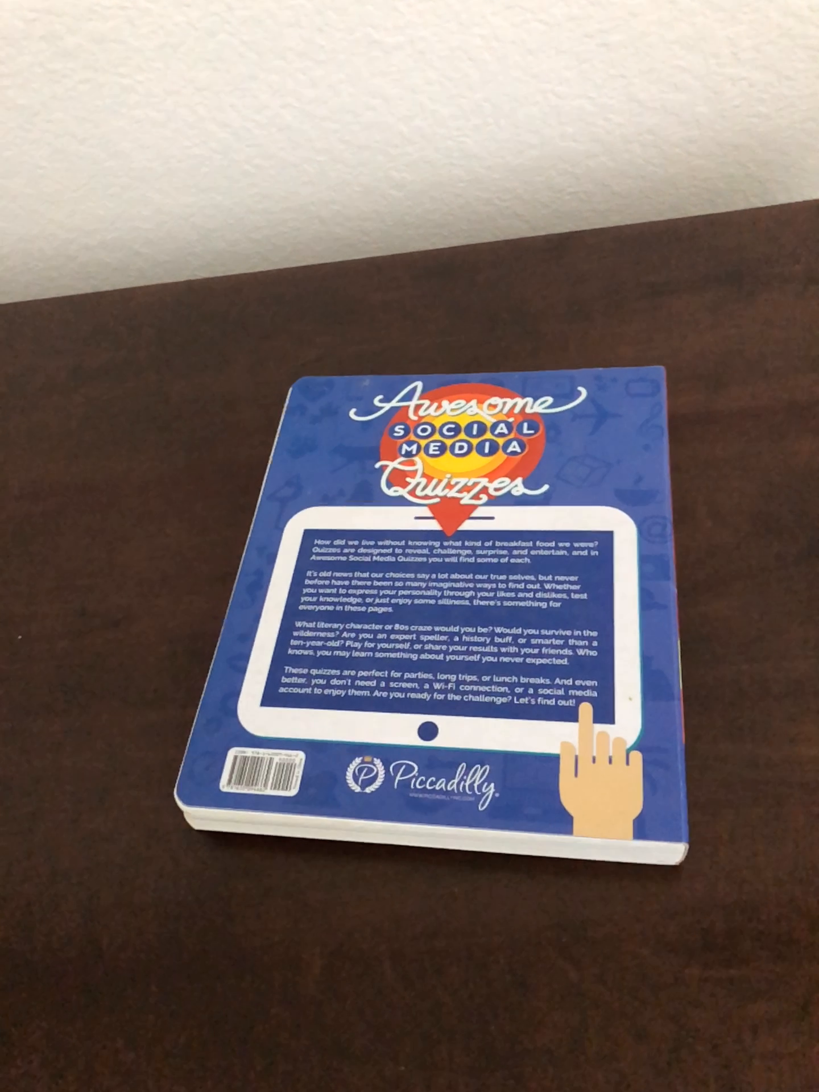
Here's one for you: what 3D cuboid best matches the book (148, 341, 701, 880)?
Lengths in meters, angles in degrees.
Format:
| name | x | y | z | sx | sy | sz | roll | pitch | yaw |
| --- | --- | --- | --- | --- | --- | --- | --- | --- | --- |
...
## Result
| name | x | y | z | sx | sy | sz | roll | pitch | yaw |
| --- | --- | --- | --- | --- | --- | --- | --- | --- | --- |
| book | 0.014 | 0.009 | 0.353 | 0.173 | 0.030 | 0.215 | 0 | 55 | 11 |
